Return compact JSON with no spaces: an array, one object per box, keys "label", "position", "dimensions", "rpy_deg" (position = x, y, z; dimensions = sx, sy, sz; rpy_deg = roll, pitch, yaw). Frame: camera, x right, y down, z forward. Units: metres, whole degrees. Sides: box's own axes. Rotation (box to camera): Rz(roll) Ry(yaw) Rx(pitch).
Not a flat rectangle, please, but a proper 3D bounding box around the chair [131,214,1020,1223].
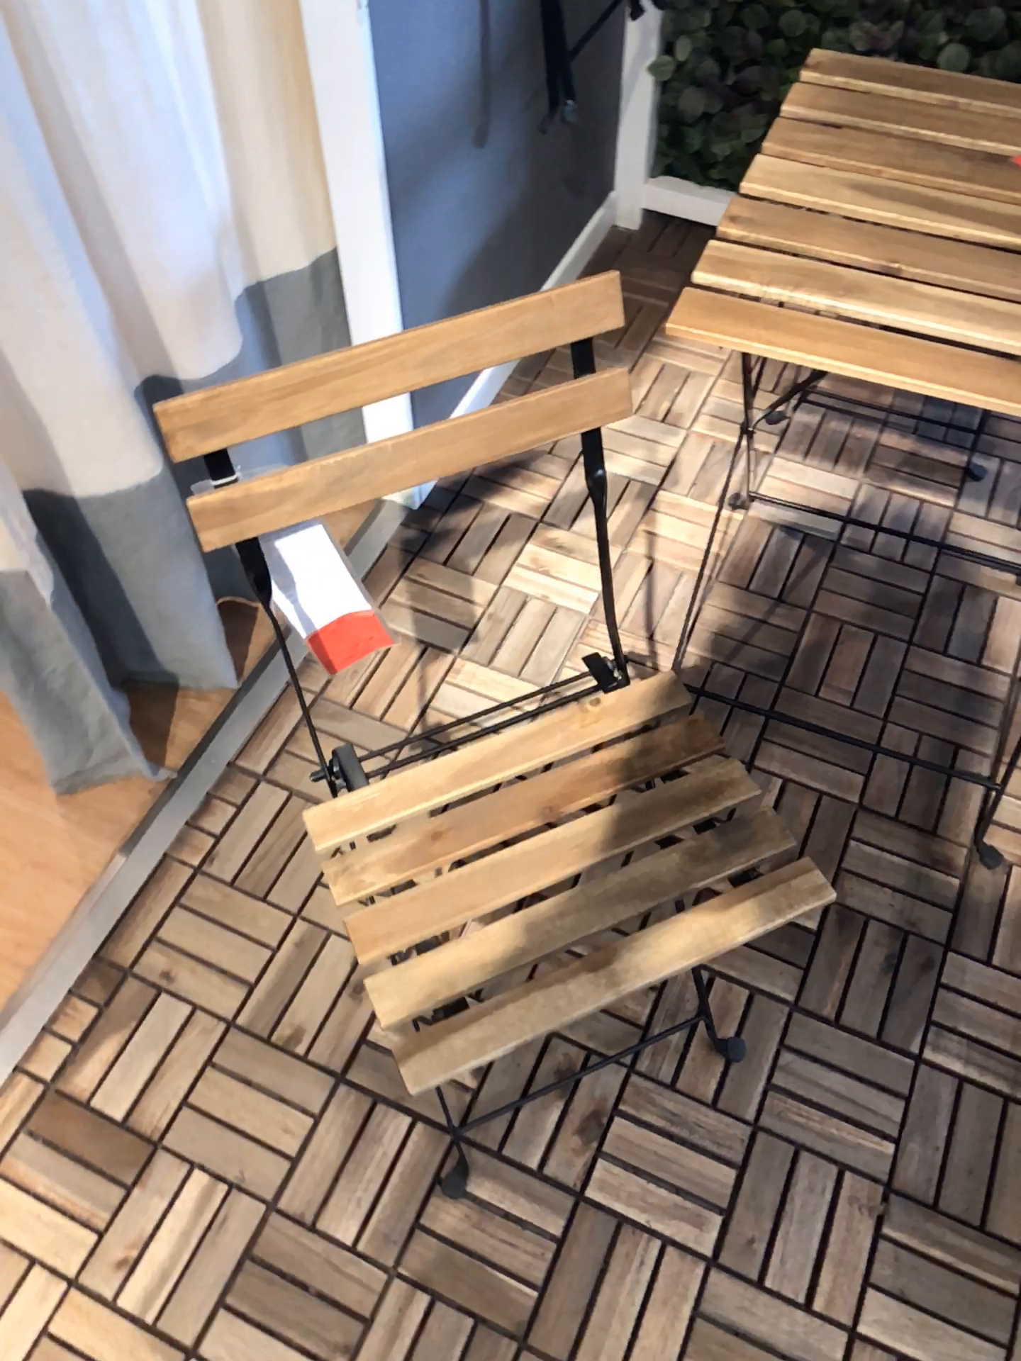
[{"label":"chair","position":[0.035,0.091,0.974],"dimensions":[0.430,0.726,0.432],"rpy_deg":[-20,57,-13]}]
